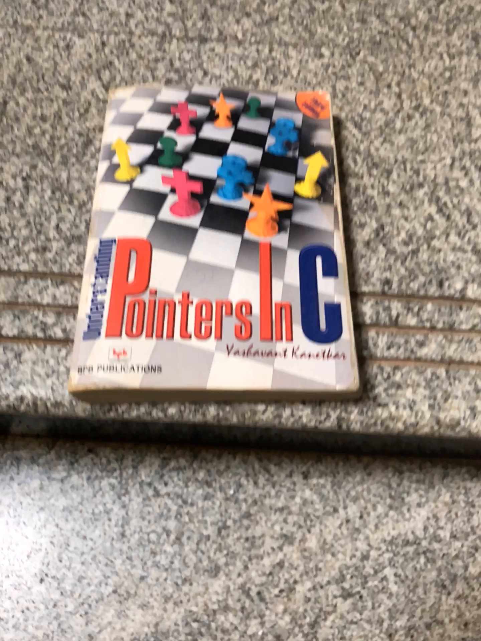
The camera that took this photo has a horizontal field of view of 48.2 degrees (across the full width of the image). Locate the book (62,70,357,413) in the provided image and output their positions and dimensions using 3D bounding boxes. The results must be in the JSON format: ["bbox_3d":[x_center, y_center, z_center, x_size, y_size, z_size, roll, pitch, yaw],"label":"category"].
[{"bbox_3d":[-0.014,-0.058,0.318,0.140,0.030,0.220,1,64,-1],"label":"book"}]
